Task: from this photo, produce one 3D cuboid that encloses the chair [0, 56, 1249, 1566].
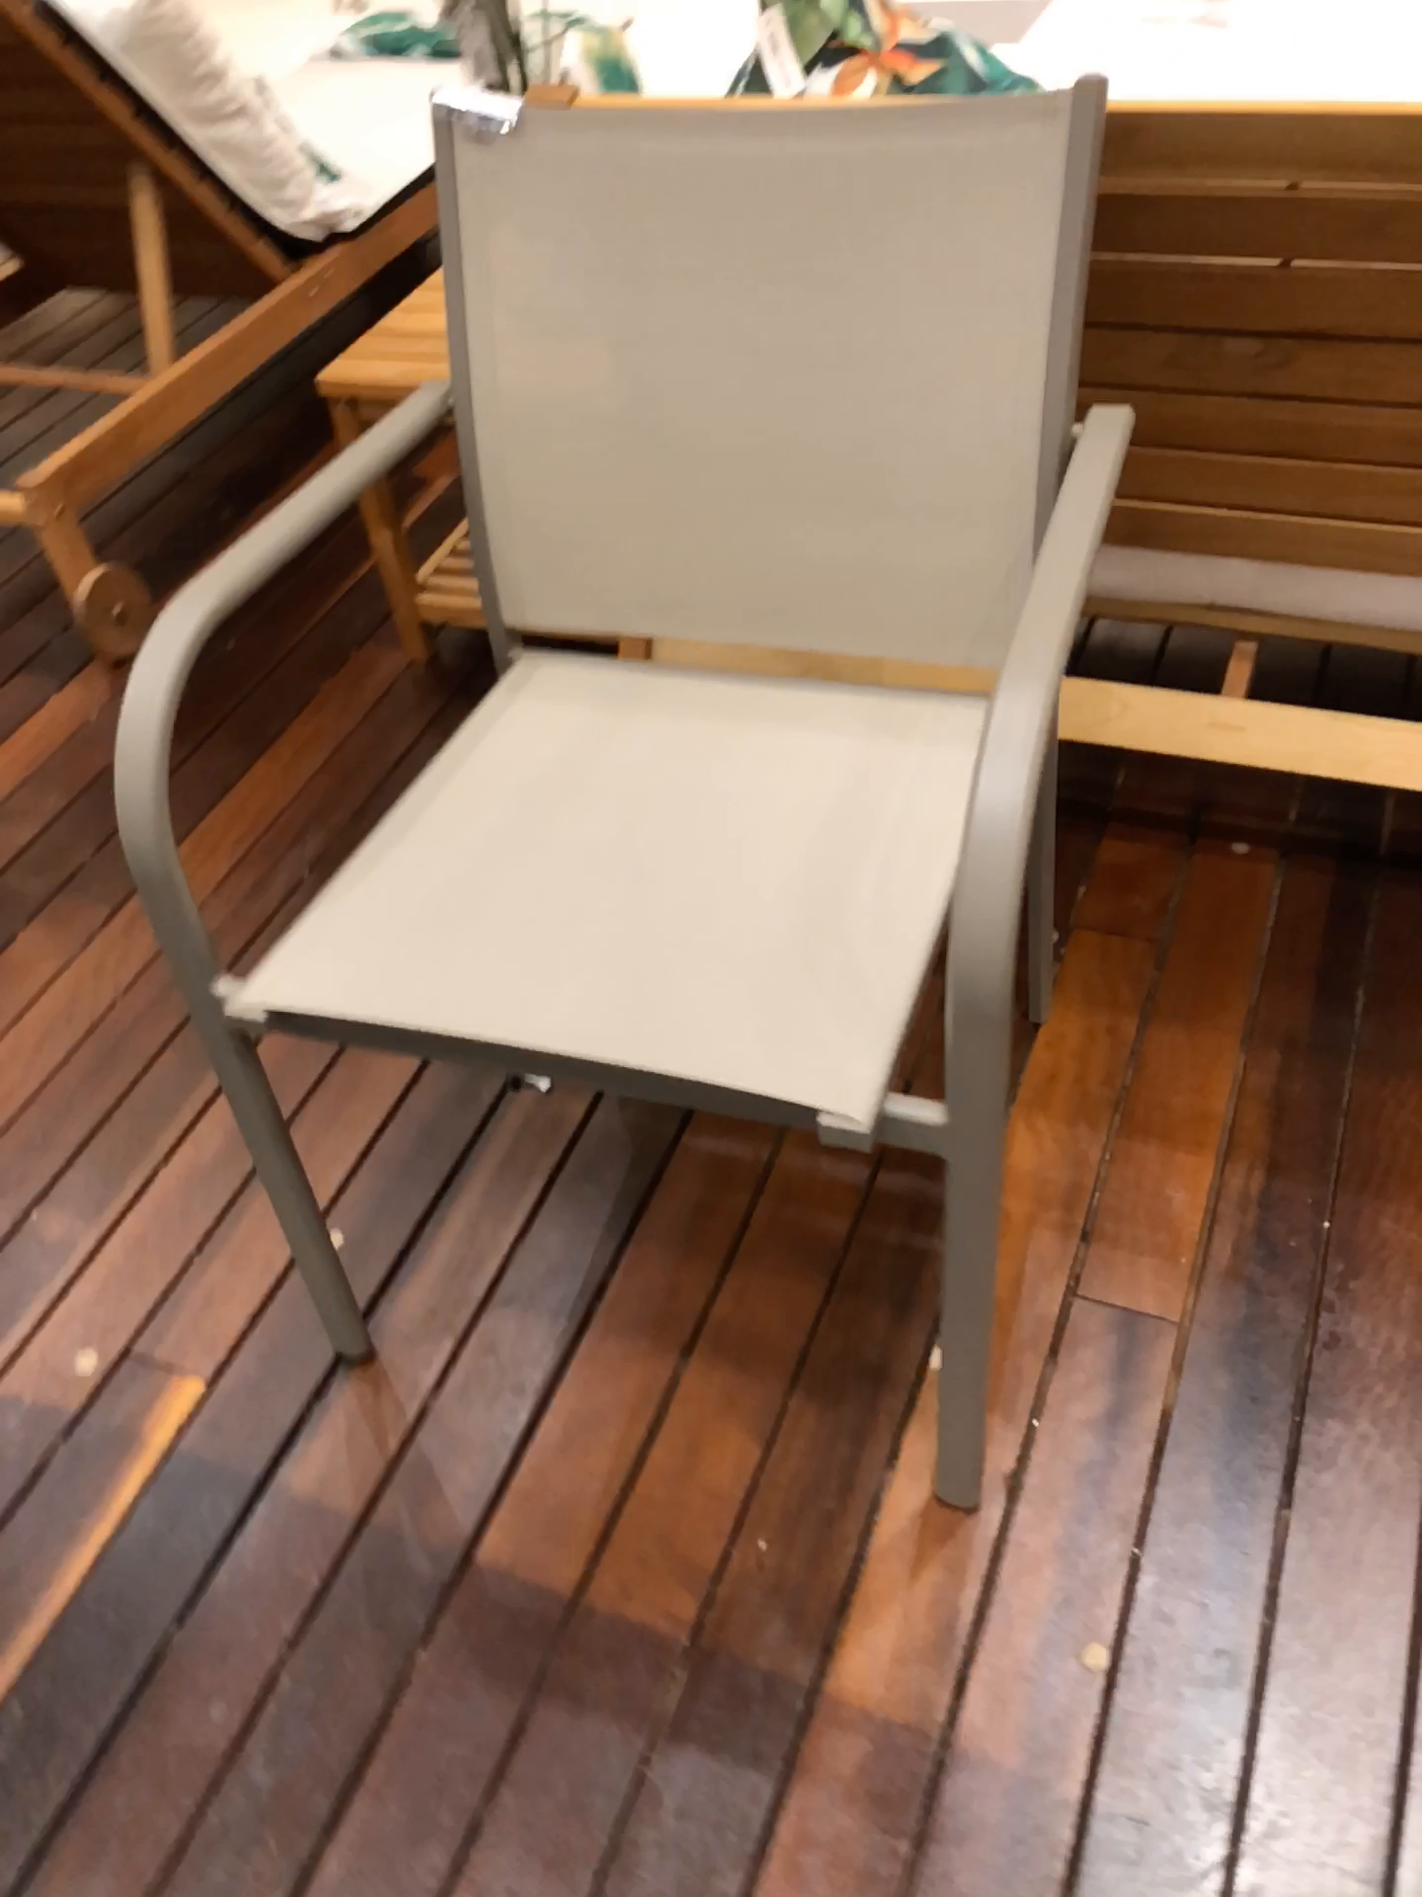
[{"bbox_3d":[-0.017,-0.105,1.136,0.621,0.793,0.614,10,47,19],"label":"chair"}]
